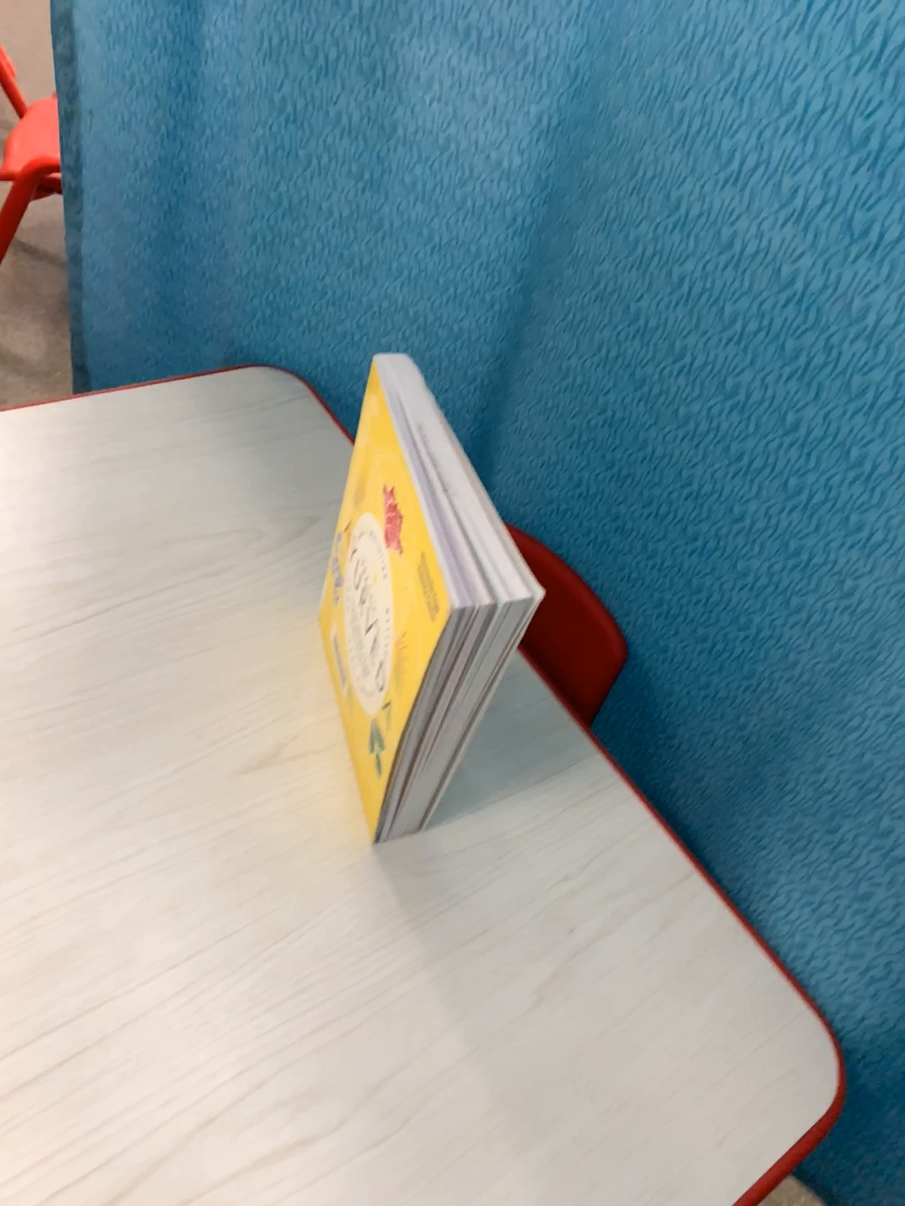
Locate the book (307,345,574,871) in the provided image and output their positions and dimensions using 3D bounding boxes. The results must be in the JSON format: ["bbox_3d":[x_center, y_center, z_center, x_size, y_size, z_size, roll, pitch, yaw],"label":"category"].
[{"bbox_3d":[-0.028,0.010,0.587,0.050,0.259,0.211,-3,50,-22],"label":"book"}]
